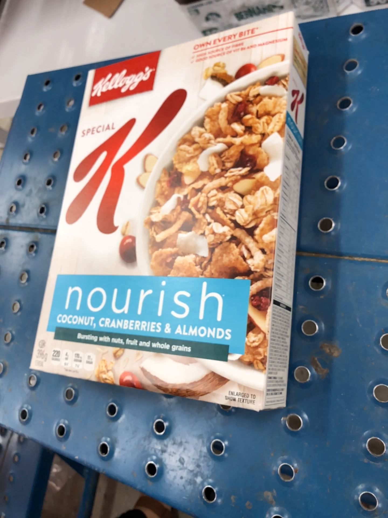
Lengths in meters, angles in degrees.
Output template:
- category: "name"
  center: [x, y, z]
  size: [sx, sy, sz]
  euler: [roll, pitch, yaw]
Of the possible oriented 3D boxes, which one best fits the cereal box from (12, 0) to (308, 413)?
- category: "cereal box"
  center: [-0.027, -0.047, 0.347]
  size: [0.211, 0.050, 0.290]
  euler: [-1, 76, 30]
